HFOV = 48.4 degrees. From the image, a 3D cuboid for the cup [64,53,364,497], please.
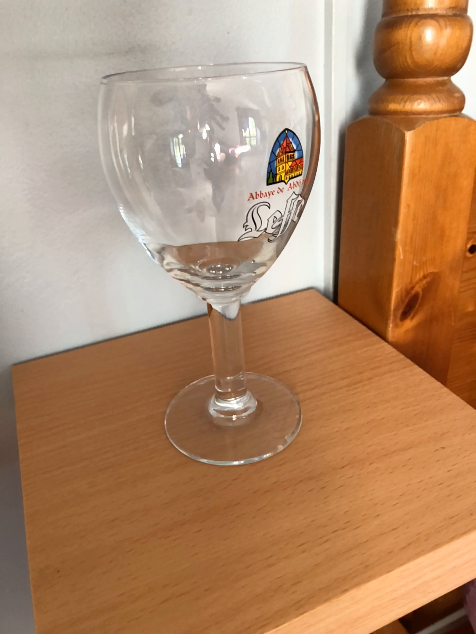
[{"bbox_3d":[-0.010,-0.029,0.274,0.096,0.185,0.100,-3,23,1],"label":"cup"}]
